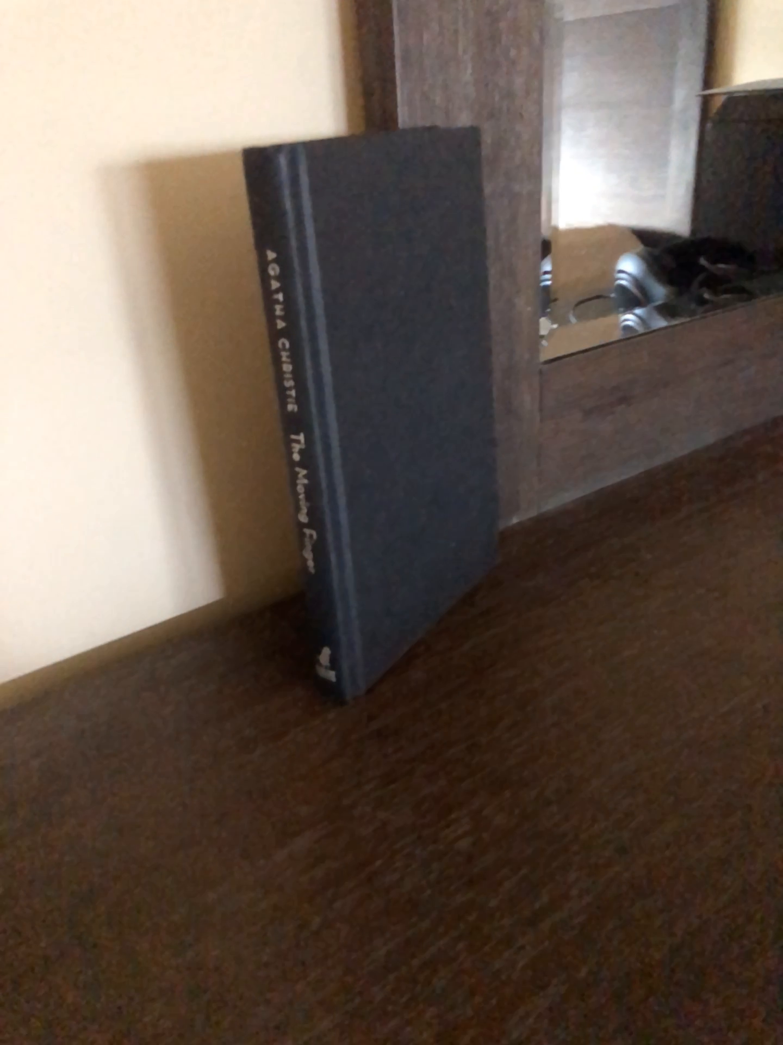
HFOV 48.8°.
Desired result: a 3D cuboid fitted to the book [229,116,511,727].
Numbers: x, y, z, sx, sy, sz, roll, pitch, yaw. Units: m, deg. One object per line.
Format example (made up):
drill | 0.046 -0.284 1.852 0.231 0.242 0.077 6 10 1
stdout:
book | 0.006 -0.050 0.381 0.028 0.229 0.150 11 29 31
